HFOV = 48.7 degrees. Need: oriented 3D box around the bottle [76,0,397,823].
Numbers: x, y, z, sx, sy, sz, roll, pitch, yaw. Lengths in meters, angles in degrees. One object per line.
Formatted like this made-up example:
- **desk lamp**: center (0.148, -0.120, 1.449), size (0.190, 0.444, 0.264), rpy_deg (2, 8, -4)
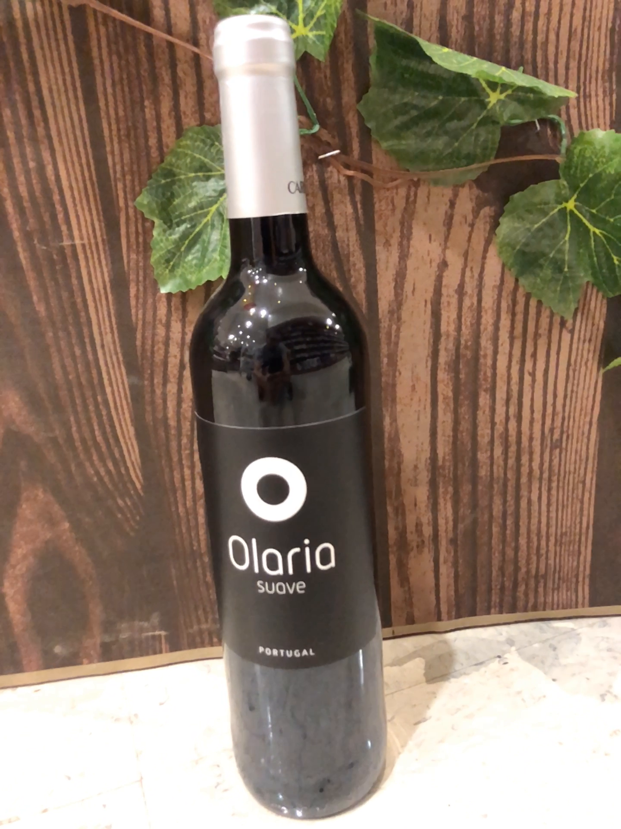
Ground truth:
- **bottle**: center (-0.014, 0.009, 0.274), size (0.080, 0.298, 0.080), rpy_deg (-4, 16, 1)
